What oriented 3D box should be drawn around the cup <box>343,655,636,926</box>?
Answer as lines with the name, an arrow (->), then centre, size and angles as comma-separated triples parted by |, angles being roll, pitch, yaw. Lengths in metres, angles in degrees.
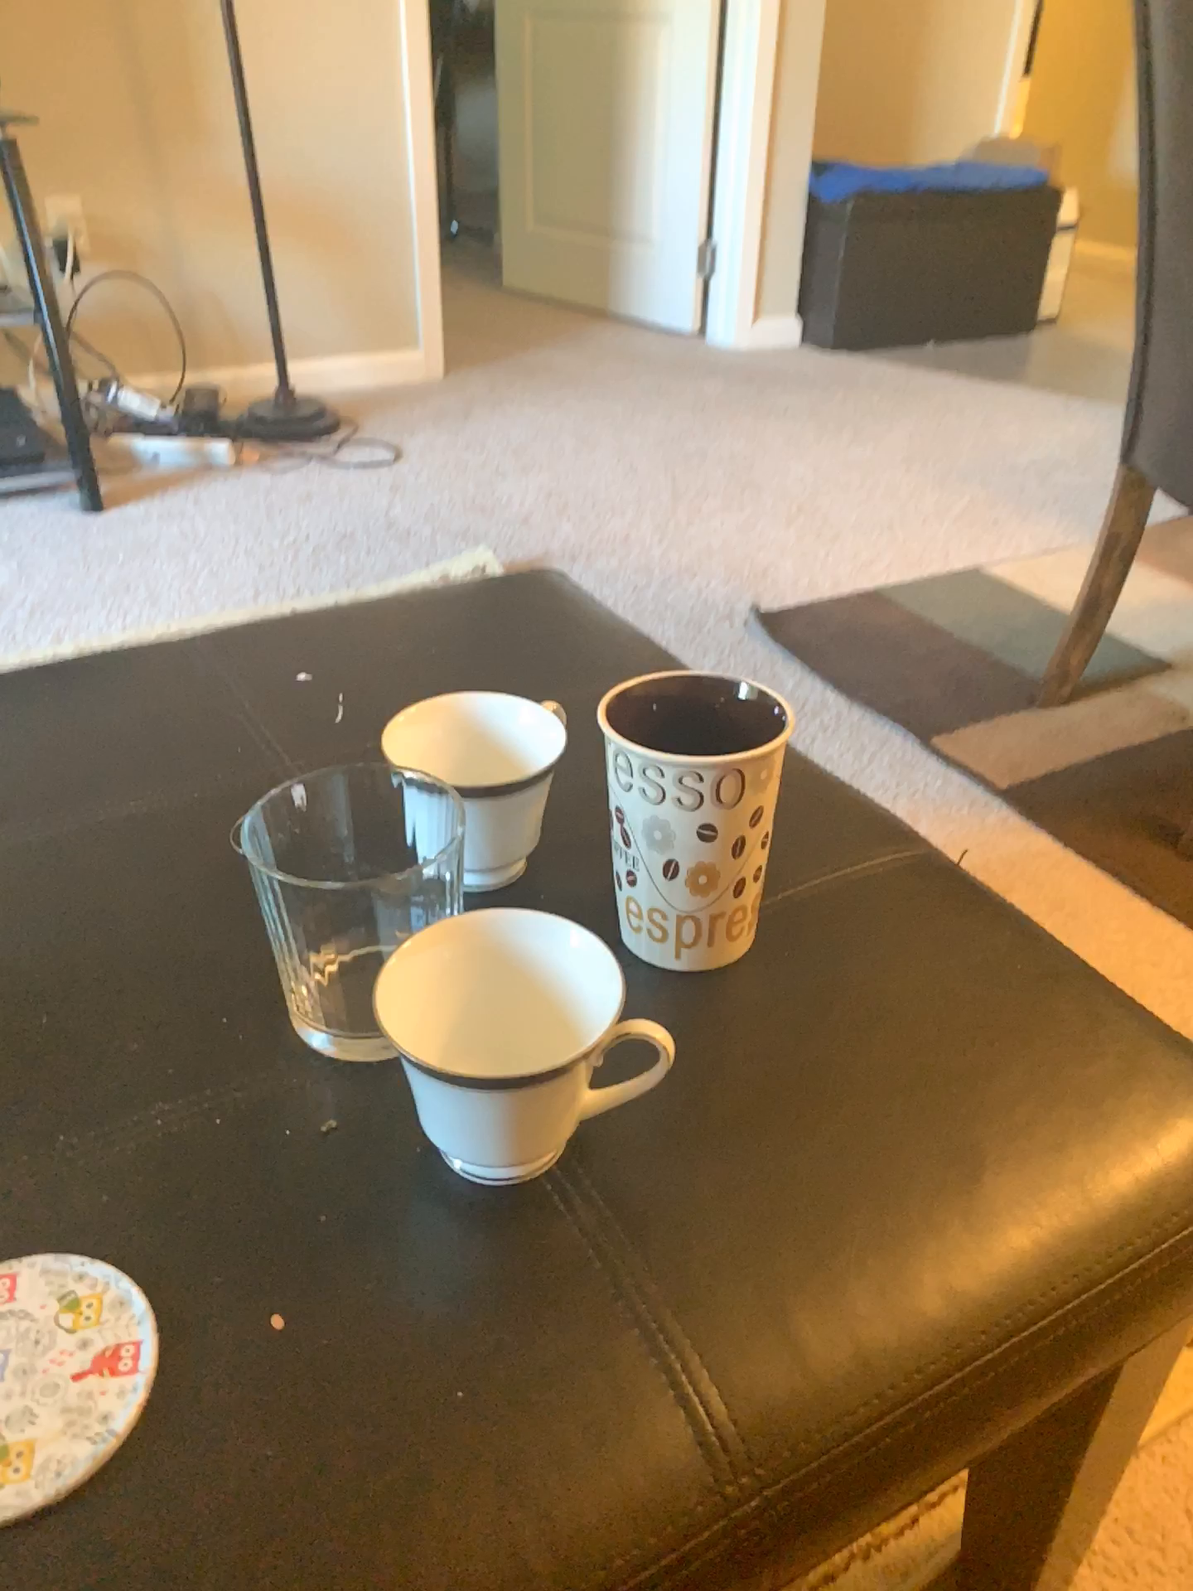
cup -> -0.051, -0.007, 0.611 | 0.090, 0.070, 0.110 | 27, 41, 34

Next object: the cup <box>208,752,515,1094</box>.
cup -> -0.096, 0.053, 0.539 | 0.100, 0.099, 0.101 | 1, 33, -1

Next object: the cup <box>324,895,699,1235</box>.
cup -> -0.026, 0.098, 0.462 | 0.120, 0.060, 0.101 | 5, 33, 6

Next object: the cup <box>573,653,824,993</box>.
cup -> 0.047, 0.010, 0.560 | 0.100, 0.109, 0.101 | 1, 33, -1
